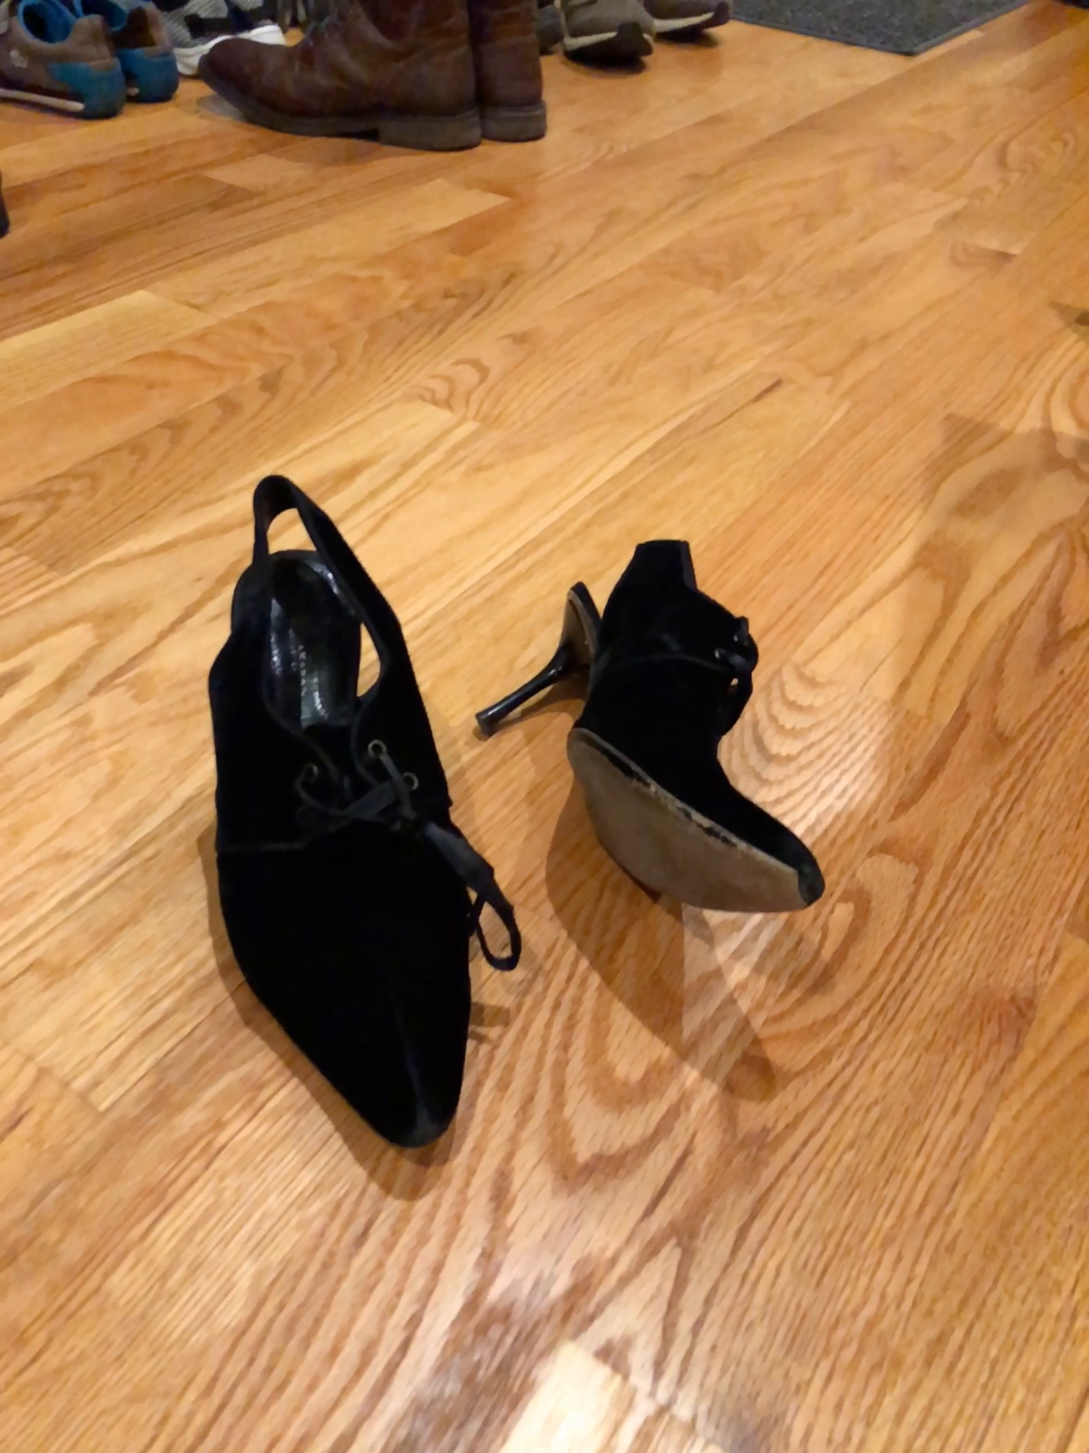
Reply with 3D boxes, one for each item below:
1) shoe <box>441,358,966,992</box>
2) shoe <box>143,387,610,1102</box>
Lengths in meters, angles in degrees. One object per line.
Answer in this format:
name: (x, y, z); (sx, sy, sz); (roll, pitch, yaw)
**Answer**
shoe: (0.039, -0.039, 0.477); (0.118, 0.107, 0.253); (-7, 42, -12)
shoe: (-0.076, -0.013, 0.451); (0.107, 0.117, 0.253); (-10, 43, -17)
